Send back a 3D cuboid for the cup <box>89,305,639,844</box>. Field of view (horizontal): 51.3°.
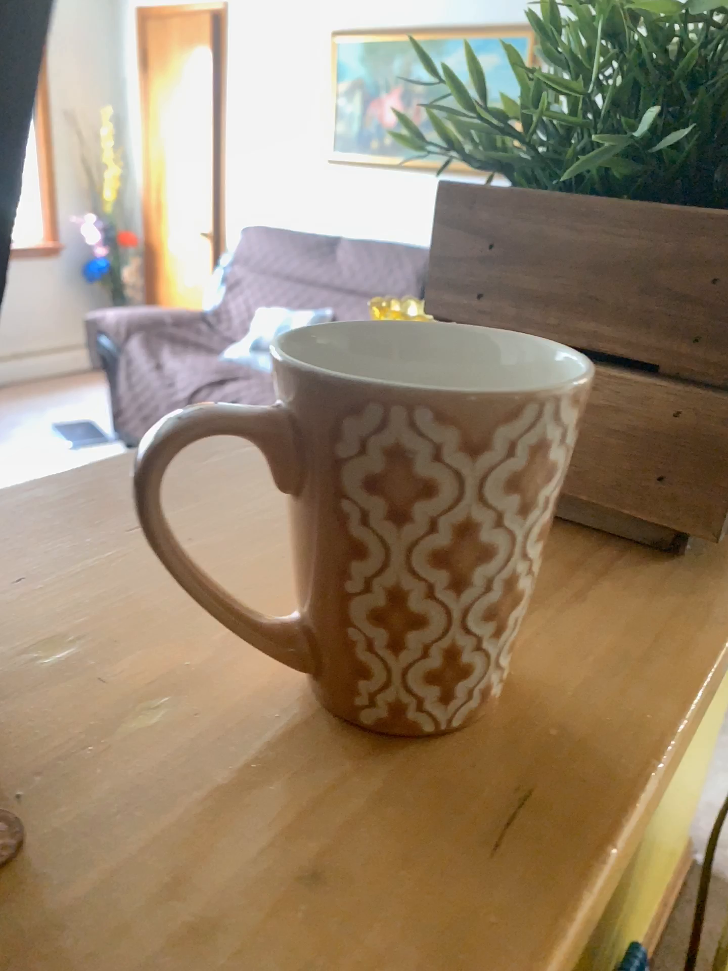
[{"bbox_3d":[-0.009,0.011,0.222,0.120,0.109,0.090,-6,25,-24],"label":"cup"}]
